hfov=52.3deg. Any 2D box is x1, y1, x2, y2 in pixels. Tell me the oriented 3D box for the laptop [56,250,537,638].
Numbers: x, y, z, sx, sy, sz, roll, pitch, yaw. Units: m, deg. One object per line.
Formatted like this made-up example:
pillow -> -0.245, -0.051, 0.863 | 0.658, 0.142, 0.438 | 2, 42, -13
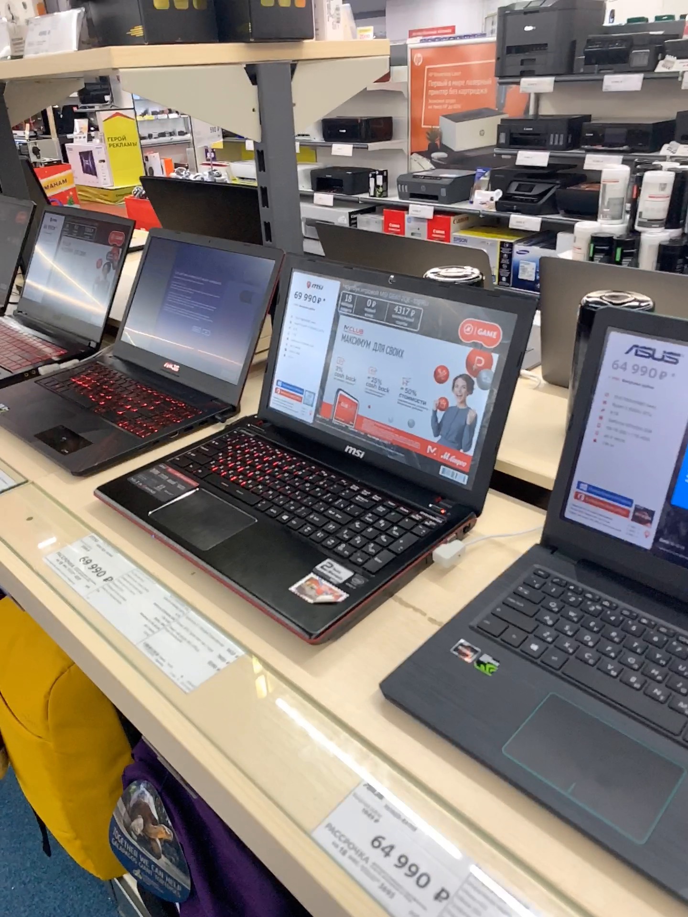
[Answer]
laptop -> -0.047, -0.059, 0.727 | 0.356, 0.197, 0.313 | 23, 39, 39
